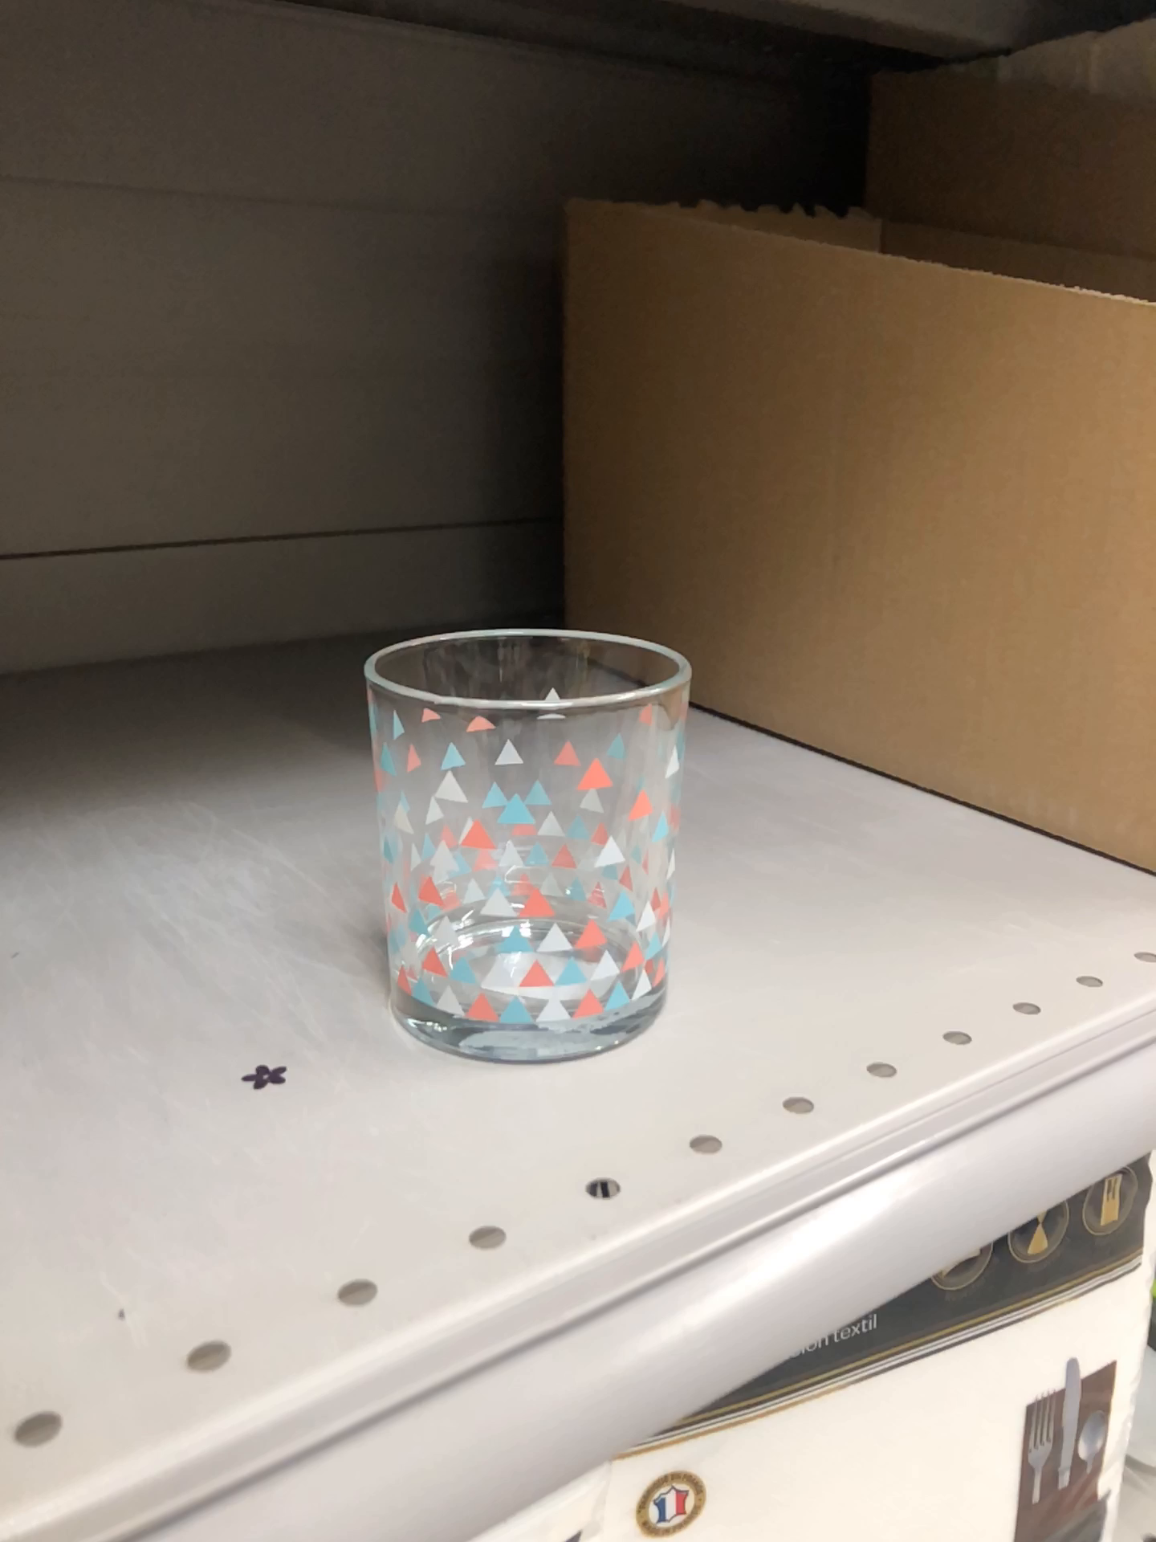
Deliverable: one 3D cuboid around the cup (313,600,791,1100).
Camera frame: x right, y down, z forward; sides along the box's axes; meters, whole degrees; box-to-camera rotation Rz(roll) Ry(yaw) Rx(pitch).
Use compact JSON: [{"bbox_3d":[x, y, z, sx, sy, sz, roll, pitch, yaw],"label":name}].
[{"bbox_3d":[-0.008,0.011,0.293,0.077,0.081,0.076,1,18,0],"label":"cup"}]
